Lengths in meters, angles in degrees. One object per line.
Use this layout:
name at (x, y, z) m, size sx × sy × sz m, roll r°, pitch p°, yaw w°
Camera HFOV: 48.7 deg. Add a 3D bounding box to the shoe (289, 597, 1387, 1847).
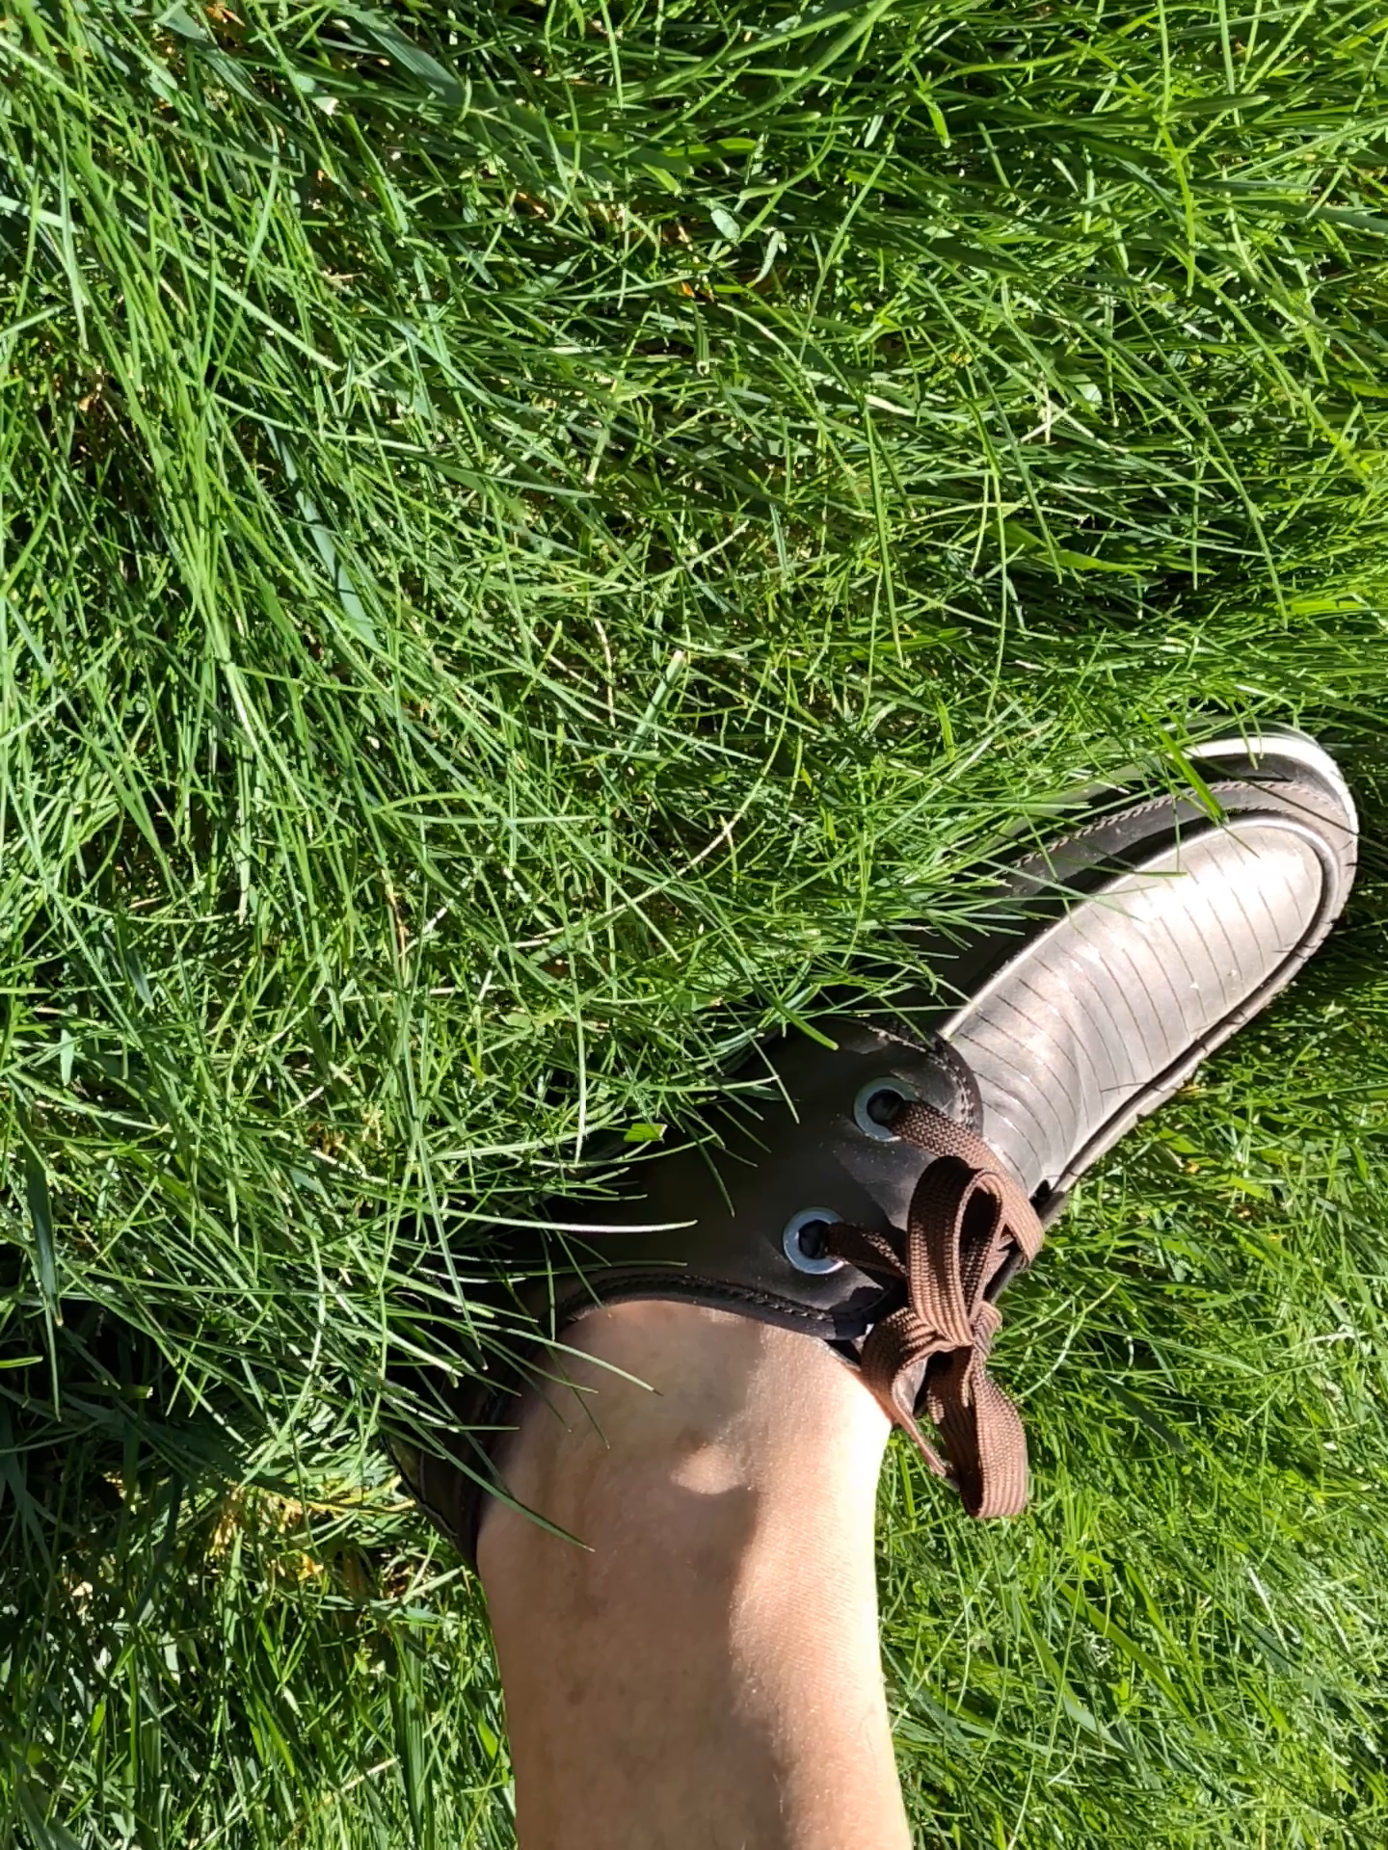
shoe at (0.058, 0.060, 0.369) m, size 0.293 × 0.107 × 0.110 m, roll -36°, pitch 115°, yaw -1°
